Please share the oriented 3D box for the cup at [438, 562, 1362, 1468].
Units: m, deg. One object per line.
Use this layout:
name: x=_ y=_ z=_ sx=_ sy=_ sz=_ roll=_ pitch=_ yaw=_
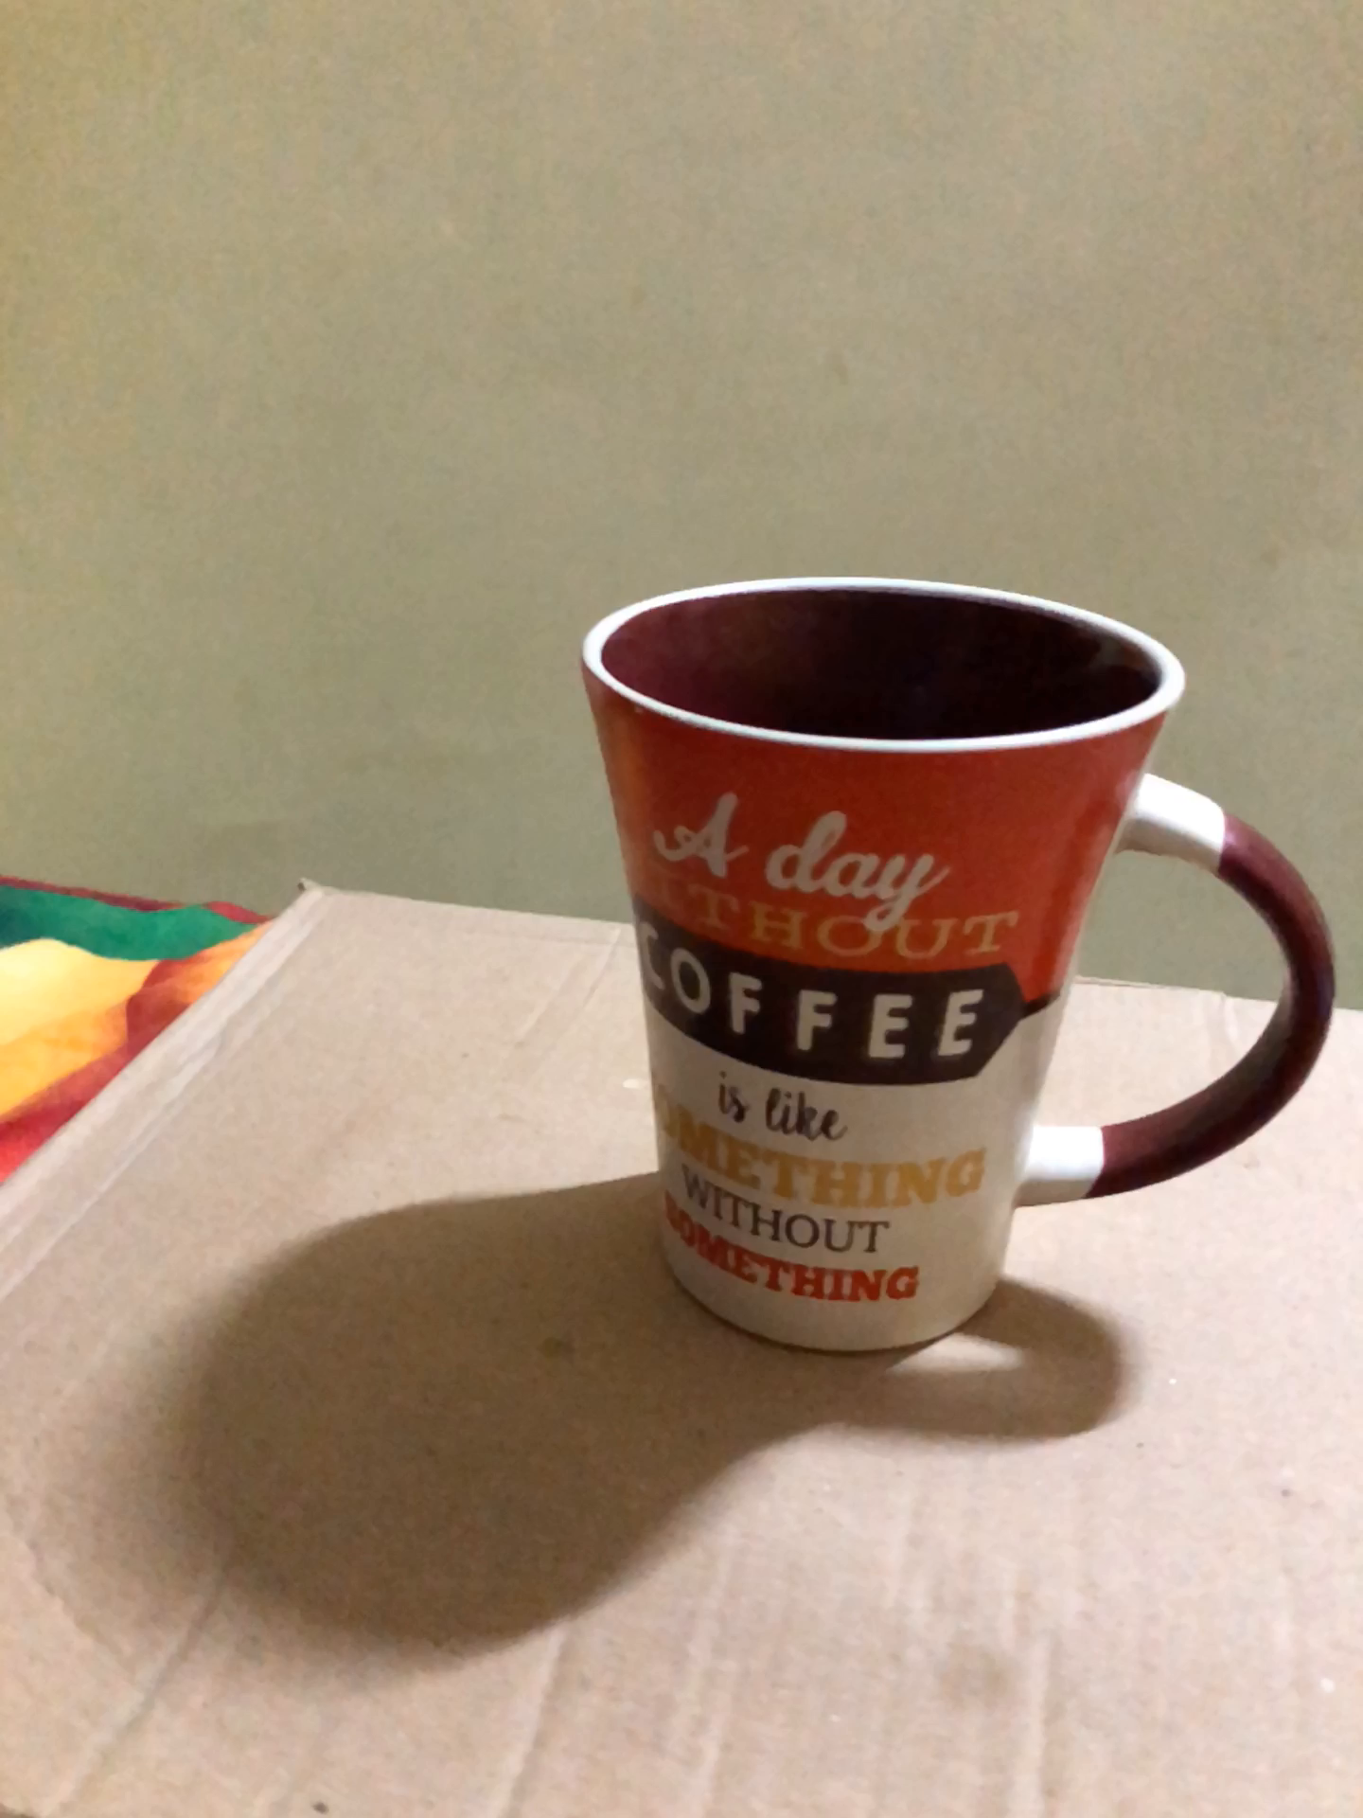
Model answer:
cup: x=0.043 y=0.006 z=0.261 sx=0.130 sy=0.109 sz=0.101 roll=6 pitch=22 yaw=16
